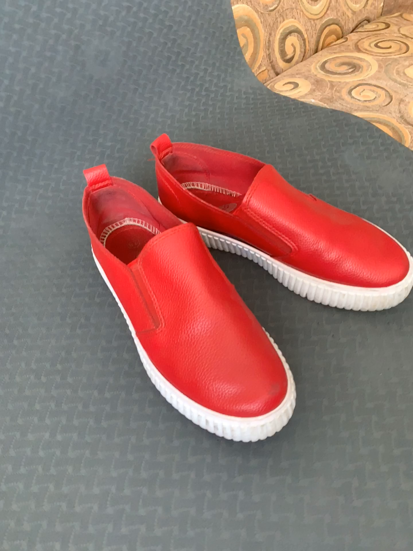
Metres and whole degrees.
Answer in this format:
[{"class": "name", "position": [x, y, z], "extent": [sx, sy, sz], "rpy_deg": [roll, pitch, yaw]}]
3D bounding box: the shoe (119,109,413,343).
[{"class": "shoe", "position": [0.059, -0.050, 0.353], "extent": [0.240, 0.070, 0.095], "rpy_deg": [24, 59, 18]}]

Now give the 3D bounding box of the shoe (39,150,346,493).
[{"class": "shoe", "position": [-0.025, 0.016, 0.316], "extent": [0.095, 0.070, 0.241], "rpy_deg": [-29, 58, -17]}]
